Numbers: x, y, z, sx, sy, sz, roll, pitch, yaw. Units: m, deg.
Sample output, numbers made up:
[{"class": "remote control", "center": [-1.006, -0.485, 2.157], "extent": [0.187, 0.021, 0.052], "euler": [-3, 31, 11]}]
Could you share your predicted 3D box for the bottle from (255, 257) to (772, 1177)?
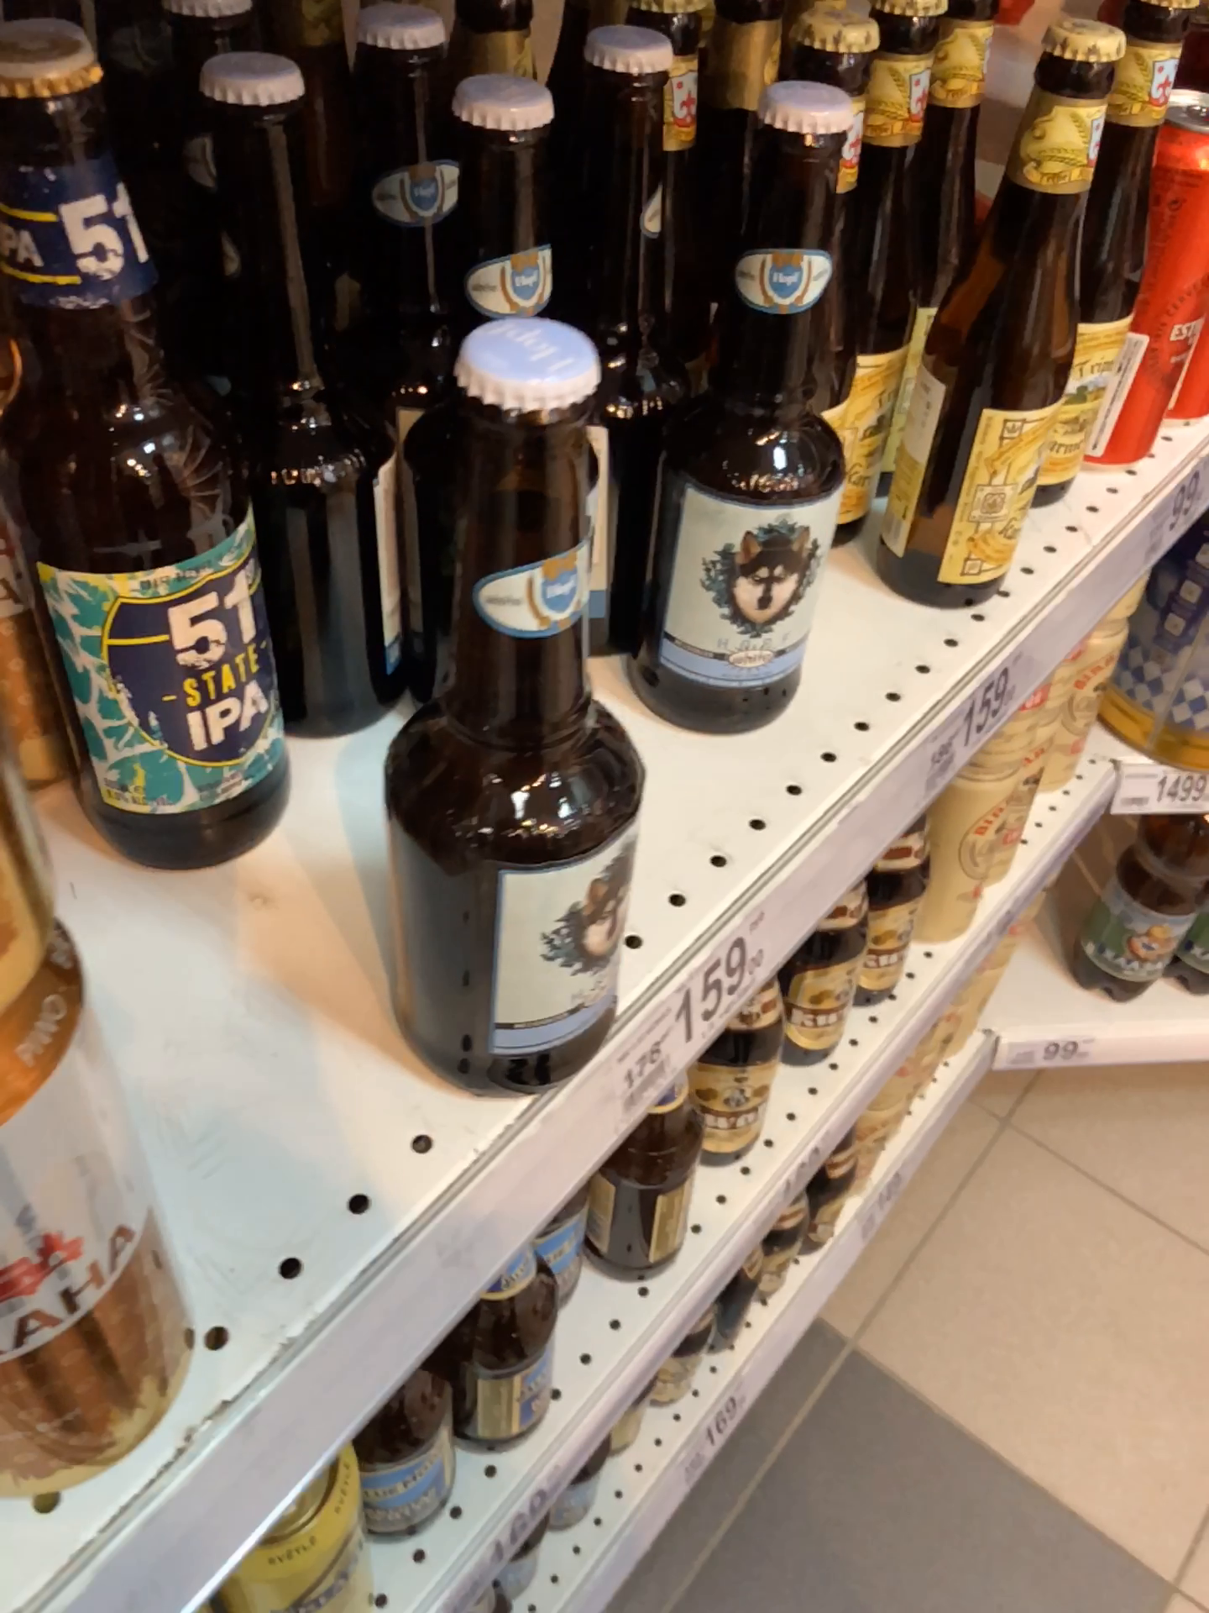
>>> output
[{"class": "bottle", "center": [-0.024, -0.010, 0.344], "extent": [0.070, 0.219, 0.080], "euler": [27, 47, 20]}]
